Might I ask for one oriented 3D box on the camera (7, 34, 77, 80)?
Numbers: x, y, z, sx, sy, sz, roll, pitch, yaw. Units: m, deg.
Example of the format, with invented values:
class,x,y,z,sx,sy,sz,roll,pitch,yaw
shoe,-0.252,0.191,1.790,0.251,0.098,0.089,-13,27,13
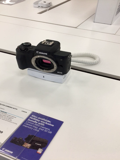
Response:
class,x,y,z,sx,sy,sz,roll,pitch,yaw
camera,-0.041,-0.055,0.377,0.135,0.075,0.055,15,48,13
